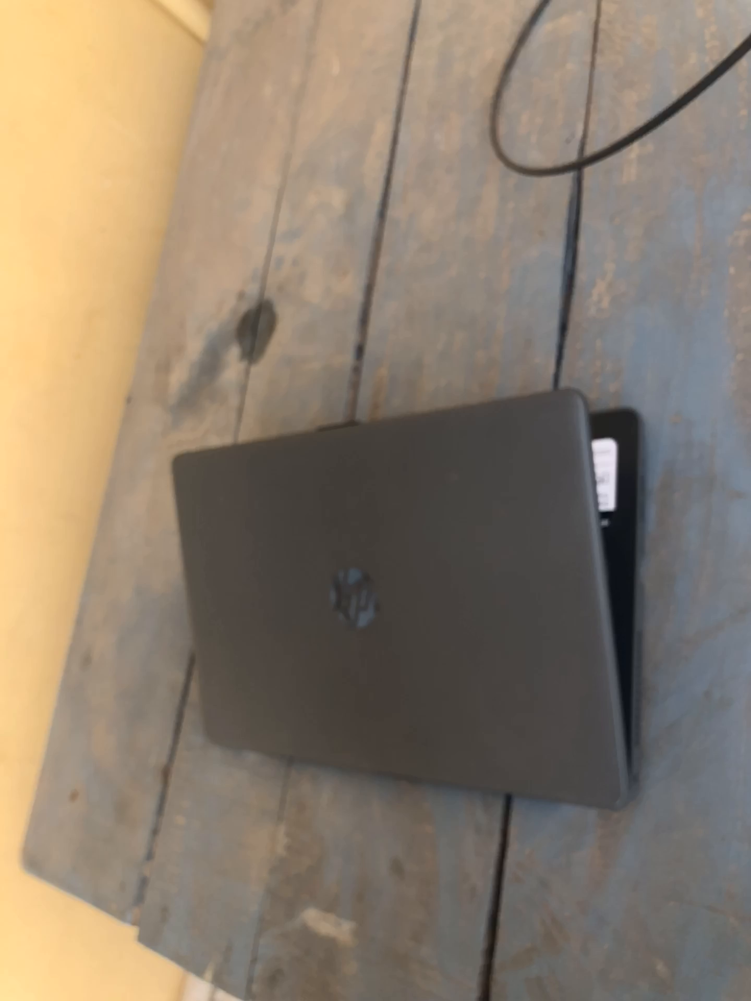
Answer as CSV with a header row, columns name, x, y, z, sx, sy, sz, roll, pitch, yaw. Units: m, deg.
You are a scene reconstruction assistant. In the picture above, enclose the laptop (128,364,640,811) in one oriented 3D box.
name,x,y,z,sx,sy,sz,roll,pitch,yaw
laptop,-0.009,0.063,0.604,0.362,0.096,0.243,-5,72,39
